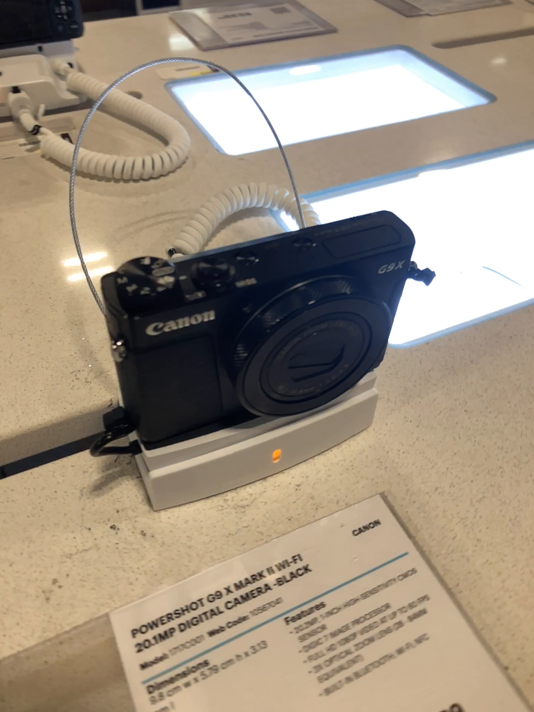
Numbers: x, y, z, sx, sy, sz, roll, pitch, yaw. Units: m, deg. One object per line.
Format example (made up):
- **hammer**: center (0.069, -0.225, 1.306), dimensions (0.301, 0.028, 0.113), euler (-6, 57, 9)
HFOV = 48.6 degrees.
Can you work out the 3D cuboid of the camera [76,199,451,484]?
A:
- **camera**: center (0.000, -0.005, 0.184), dimensions (0.100, 0.060, 0.030), euler (-17, 48, -17)
